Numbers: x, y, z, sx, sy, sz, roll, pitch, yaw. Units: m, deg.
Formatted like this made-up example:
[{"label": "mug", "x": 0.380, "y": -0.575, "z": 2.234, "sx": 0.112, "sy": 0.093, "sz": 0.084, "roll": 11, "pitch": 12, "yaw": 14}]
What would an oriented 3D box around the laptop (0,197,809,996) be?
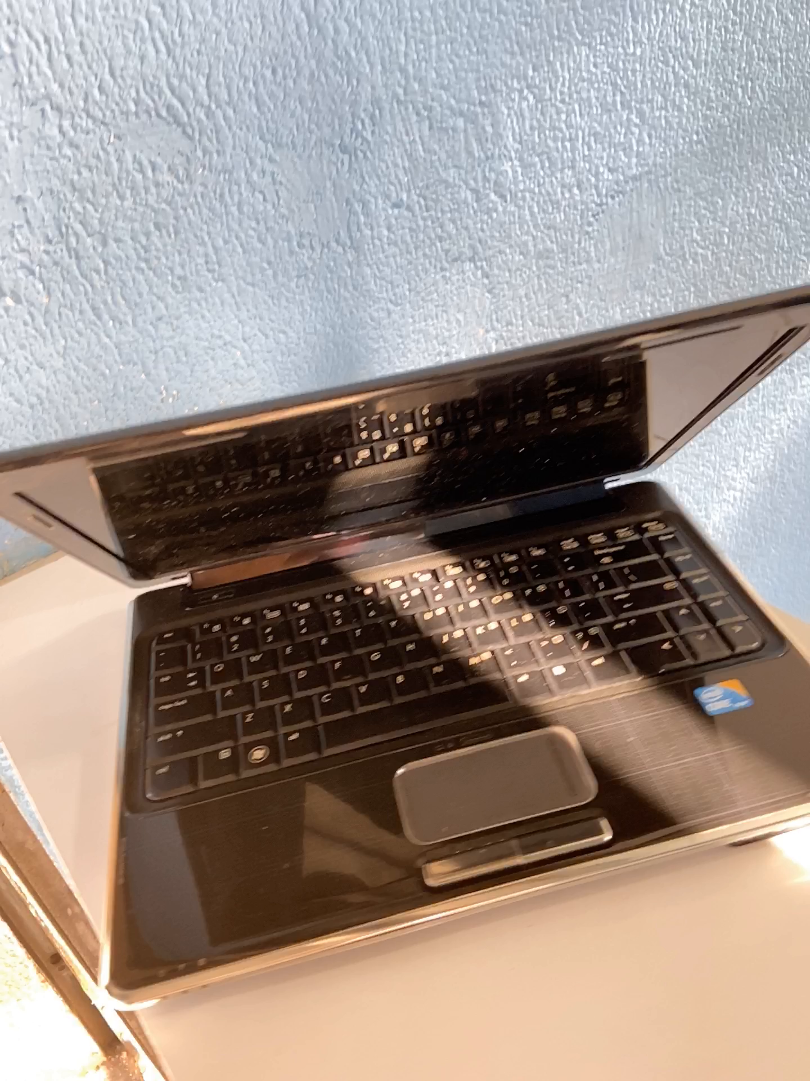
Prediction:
[{"label": "laptop", "x": 0.015, "y": -0.002, "z": 0.361, "sx": 0.325, "sy": 0.165, "sz": 0.226, "roll": -13, "pitch": 38, "yaw": -5}]
